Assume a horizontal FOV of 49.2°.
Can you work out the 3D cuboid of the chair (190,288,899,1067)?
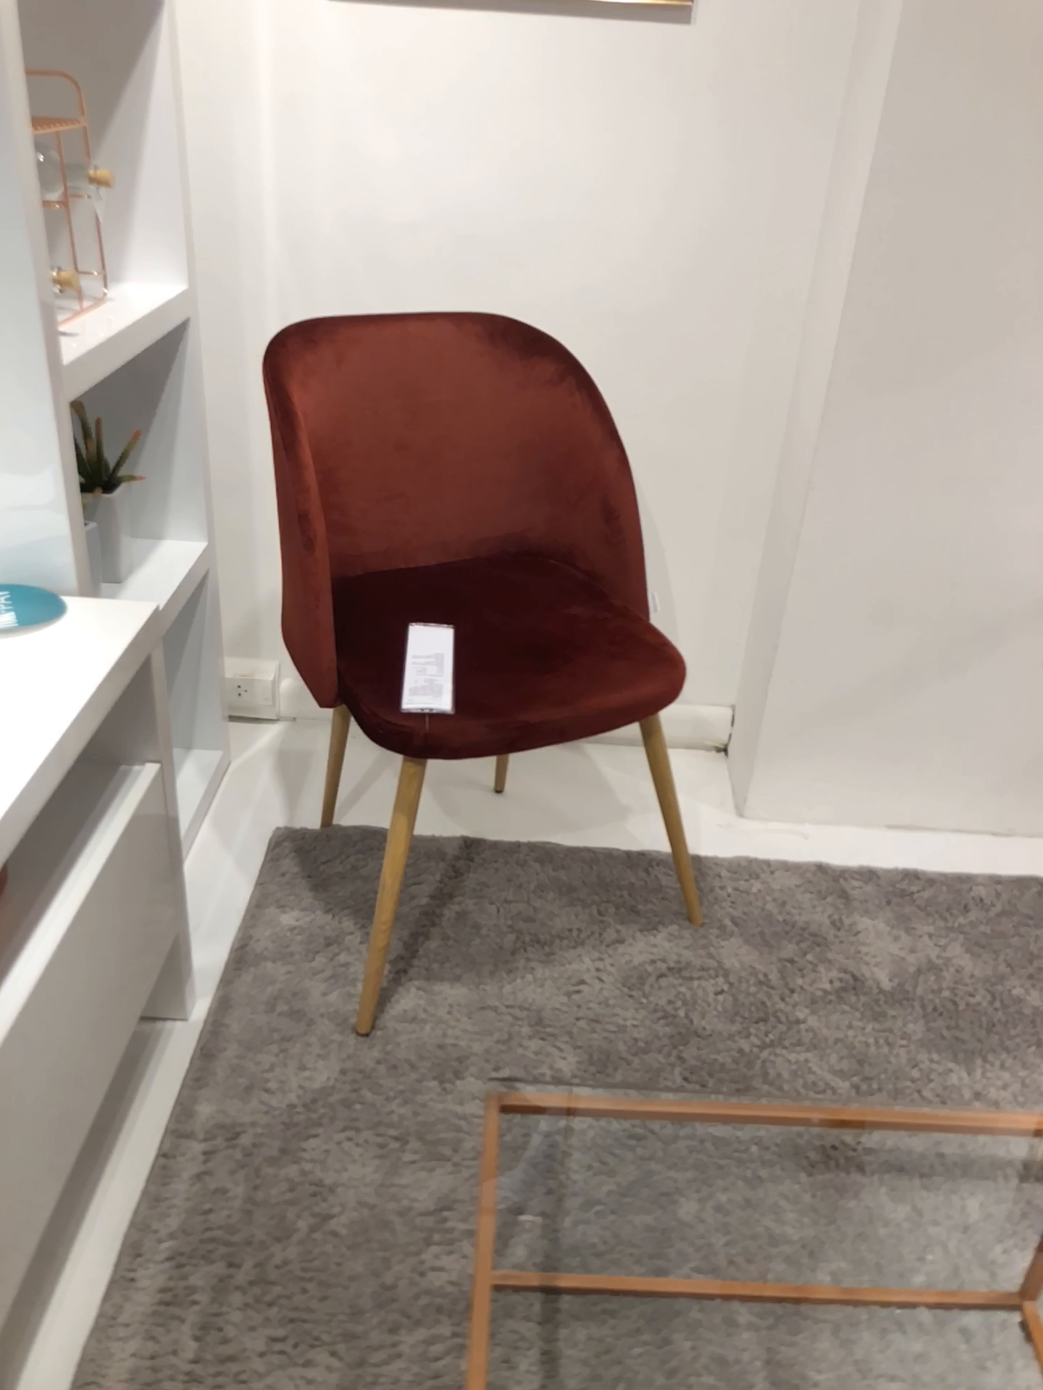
[{"bbox_3d":[-0.031,-0.095,1.530,0.592,0.734,0.653,-13,33,-30],"label":"chair"}]
